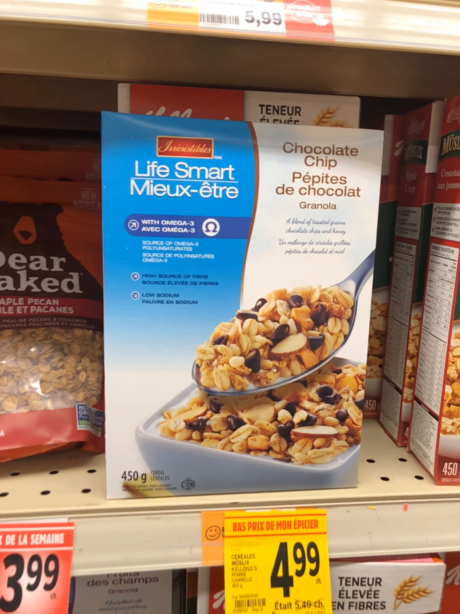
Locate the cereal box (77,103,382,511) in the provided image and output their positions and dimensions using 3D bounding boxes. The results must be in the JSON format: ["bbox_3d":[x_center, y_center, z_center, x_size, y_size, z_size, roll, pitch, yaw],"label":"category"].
[{"bbox_3d":[-0.004,0.003,0.335,0.180,0.239,0.050,0,8,-10],"label":"cereal box"}]
